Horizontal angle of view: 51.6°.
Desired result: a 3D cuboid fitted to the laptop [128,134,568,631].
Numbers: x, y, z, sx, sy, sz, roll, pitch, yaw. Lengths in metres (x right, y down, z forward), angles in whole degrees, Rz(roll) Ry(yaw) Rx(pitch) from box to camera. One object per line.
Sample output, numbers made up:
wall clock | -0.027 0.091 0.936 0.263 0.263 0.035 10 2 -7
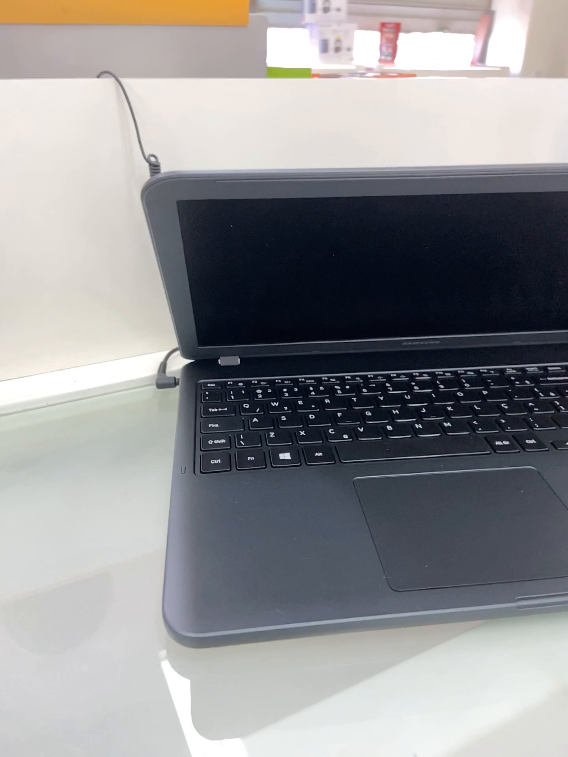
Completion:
laptop | 0.120 -0.035 0.322 0.357 0.158 0.232 -3 29 -7
